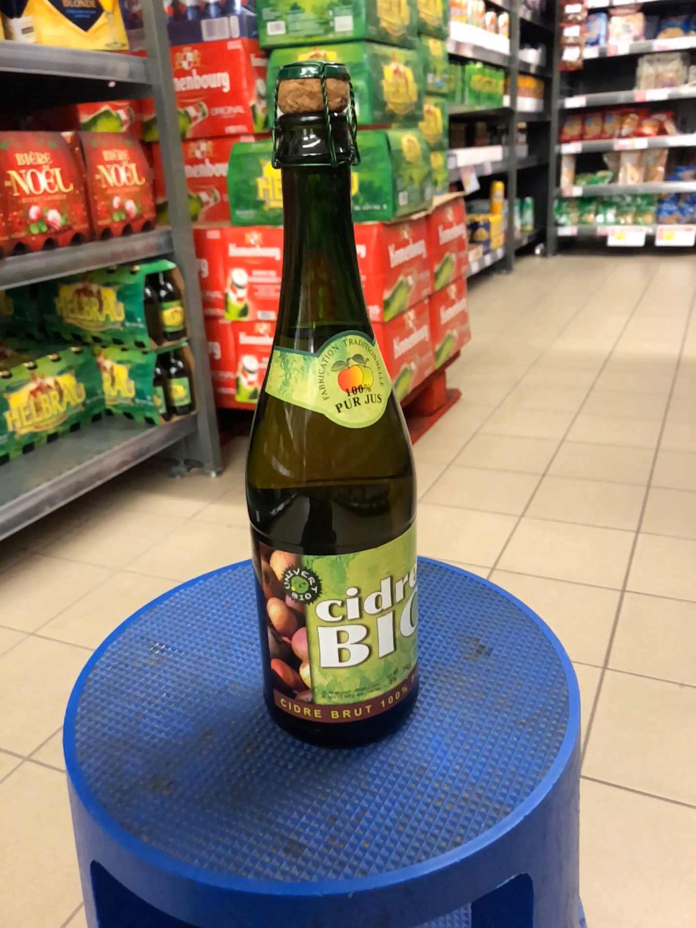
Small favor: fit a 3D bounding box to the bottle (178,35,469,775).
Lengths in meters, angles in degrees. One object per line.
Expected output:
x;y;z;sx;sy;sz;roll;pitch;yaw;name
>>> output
-0.007;-0.019;0.341;0.090;0.289;0.090;-3;21;1;bottle
